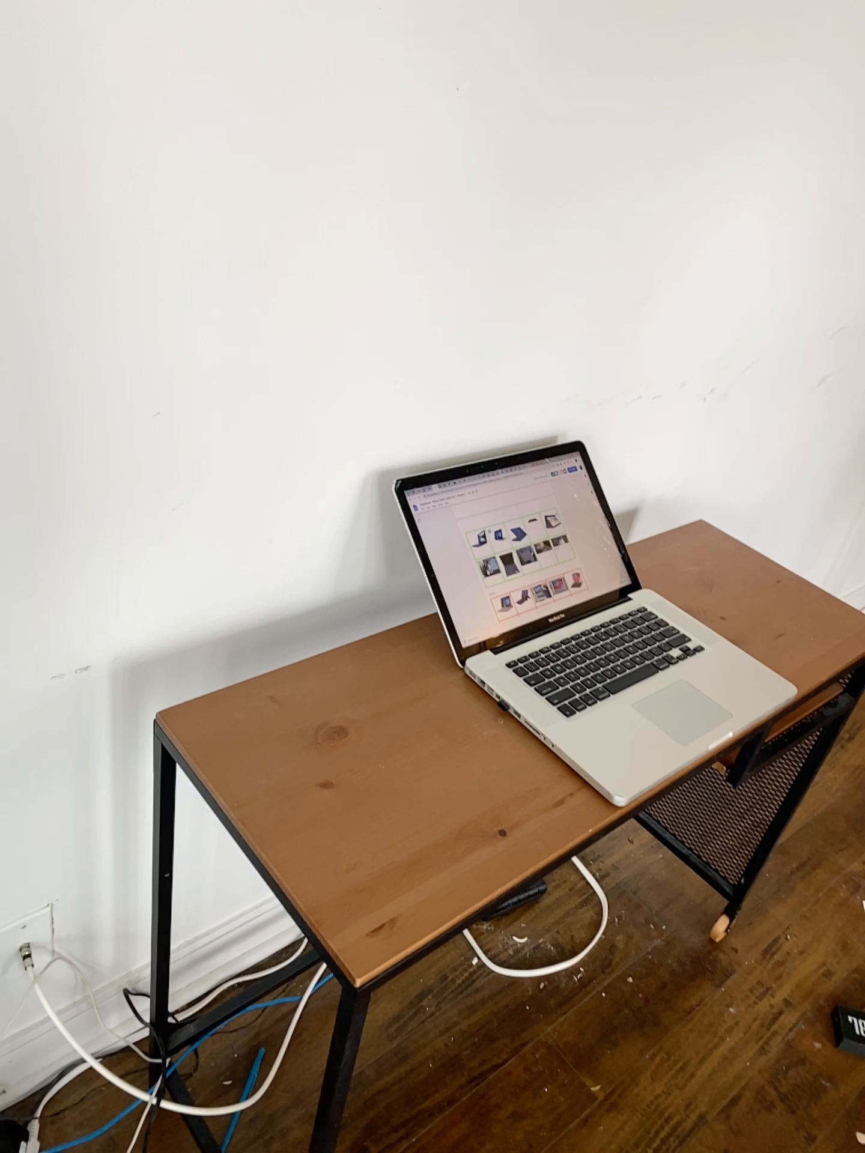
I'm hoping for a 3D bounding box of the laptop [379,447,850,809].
[{"bbox_3d":[0.216,0.024,1.117,0.368,0.151,0.440,-17,42,-38],"label":"laptop"}]
